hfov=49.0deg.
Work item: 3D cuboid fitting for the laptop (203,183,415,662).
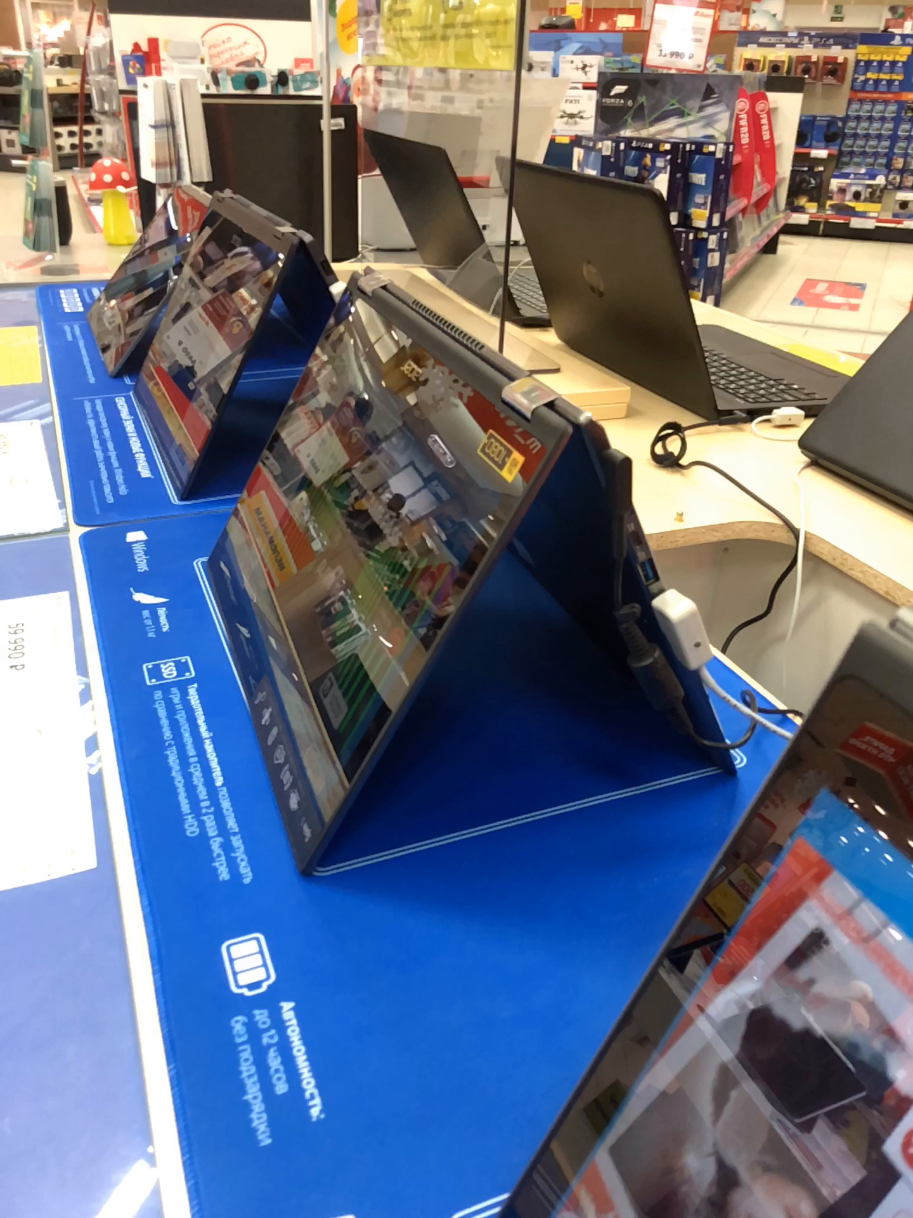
[{"bbox_3d":[-0.144,-0.181,0.961,0.175,0.179,0.270,21,16,-32],"label":"laptop"}]

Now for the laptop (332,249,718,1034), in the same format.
[{"bbox_3d":[0.028,0.017,0.619,0.201,0.159,0.308,27,13,-37],"label":"laptop"}]
